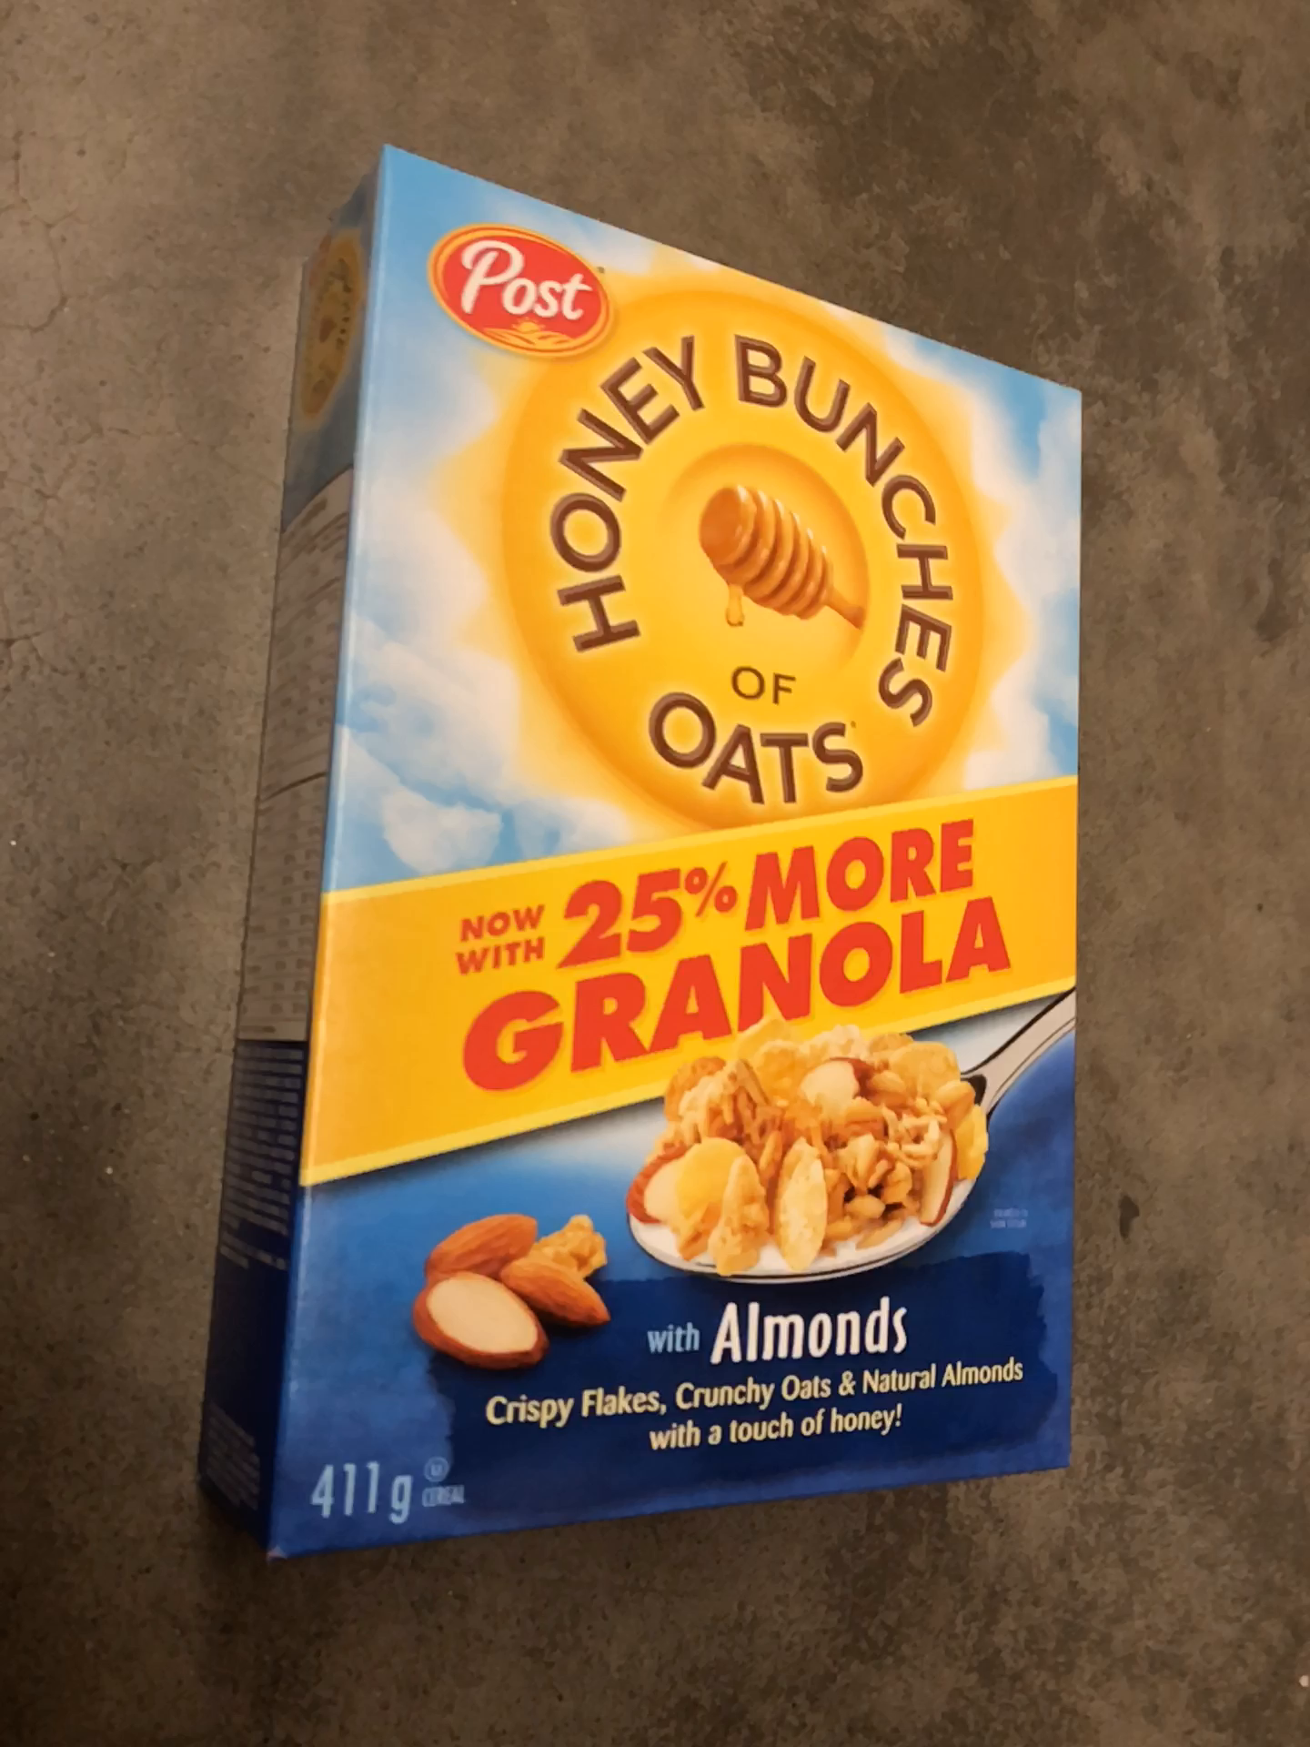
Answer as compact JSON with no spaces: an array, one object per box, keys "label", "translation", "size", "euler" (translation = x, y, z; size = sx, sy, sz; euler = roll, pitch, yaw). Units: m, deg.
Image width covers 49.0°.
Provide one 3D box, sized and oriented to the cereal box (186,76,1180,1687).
[{"label":"cereal box","translation":[0.019,0.005,0.313],"size":[0.200,0.060,0.270],"euler":[7,83,-29]}]
